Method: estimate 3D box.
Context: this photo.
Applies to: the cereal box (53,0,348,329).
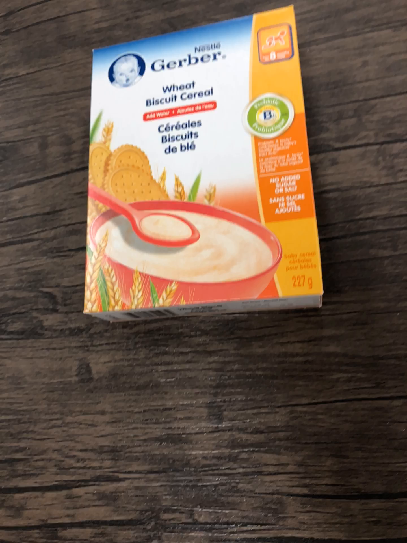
[{"bbox_3d":[-0.005,-0.062,0.282,0.160,0.040,0.180,-5,75,13],"label":"cereal box"}]
